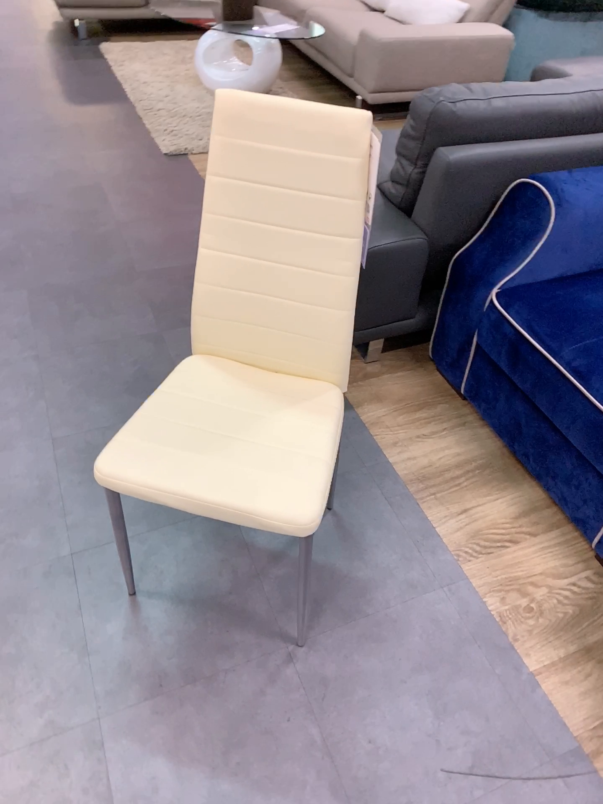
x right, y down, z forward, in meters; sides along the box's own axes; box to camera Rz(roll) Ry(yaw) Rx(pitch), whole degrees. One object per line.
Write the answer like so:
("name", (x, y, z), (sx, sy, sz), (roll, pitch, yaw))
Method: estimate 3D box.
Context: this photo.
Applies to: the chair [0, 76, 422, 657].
("chair", (-0.112, -0.014, 1.177), (0.445, 0.940, 0.480), (13, 44, 10))
